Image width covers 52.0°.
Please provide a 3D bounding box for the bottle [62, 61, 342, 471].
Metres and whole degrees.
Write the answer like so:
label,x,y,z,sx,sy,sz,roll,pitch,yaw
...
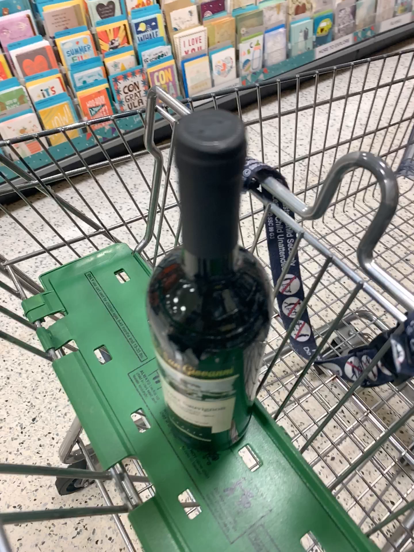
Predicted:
label,x,y,z,sx,sy,sz,roll,pitch,yaw
bottle,0.000,0.030,0.269,0.080,0.277,0.075,0,51,0
